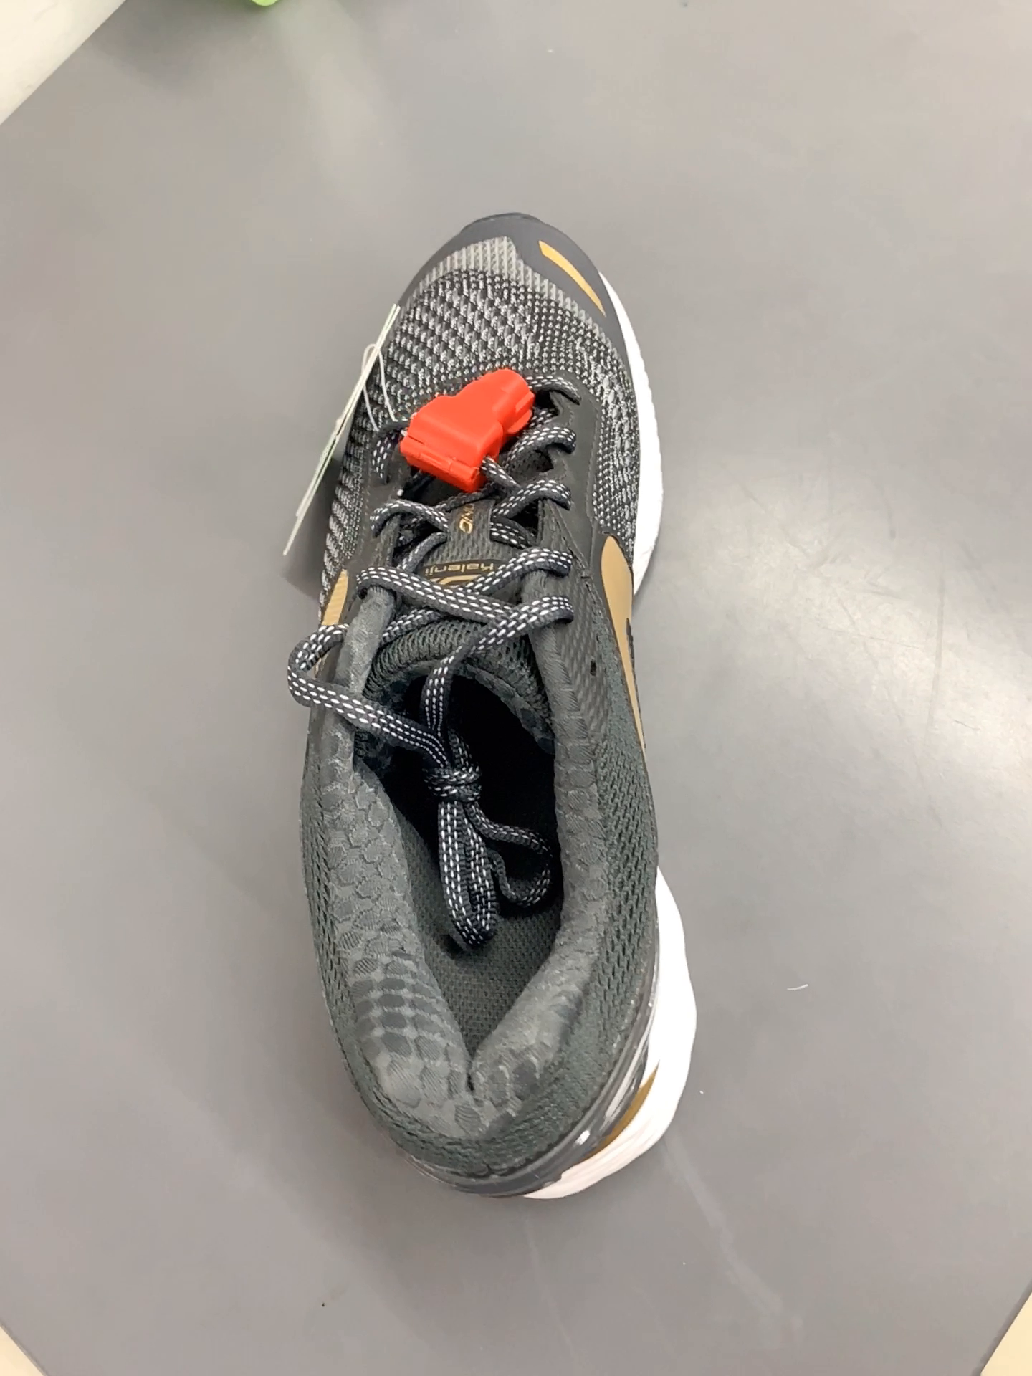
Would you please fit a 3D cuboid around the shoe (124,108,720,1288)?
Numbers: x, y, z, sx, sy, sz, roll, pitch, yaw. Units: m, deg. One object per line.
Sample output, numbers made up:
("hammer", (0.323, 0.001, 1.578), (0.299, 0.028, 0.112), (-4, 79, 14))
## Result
("shoe", (-0.013, -0.002, 0.256), (0.100, 0.090, 0.240), (-3, 72, 7))
